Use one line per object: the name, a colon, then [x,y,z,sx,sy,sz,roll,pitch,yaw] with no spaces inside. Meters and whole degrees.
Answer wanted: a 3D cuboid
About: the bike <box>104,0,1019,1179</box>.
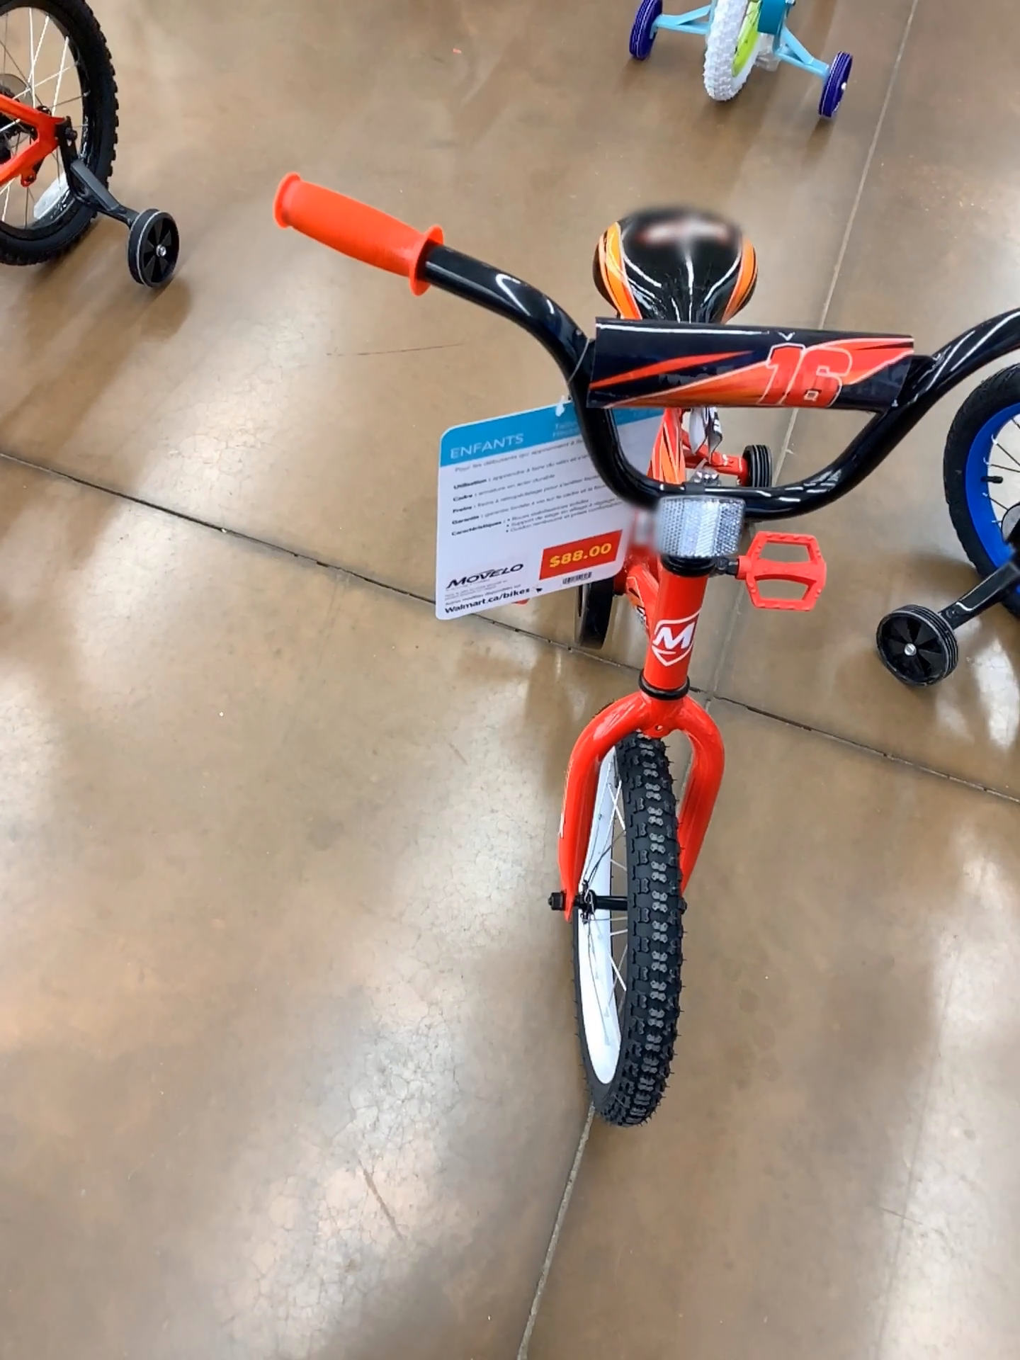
bike: [0.149,-0.175,1.014,0.584,0.850,1.074,5,57,-2]
